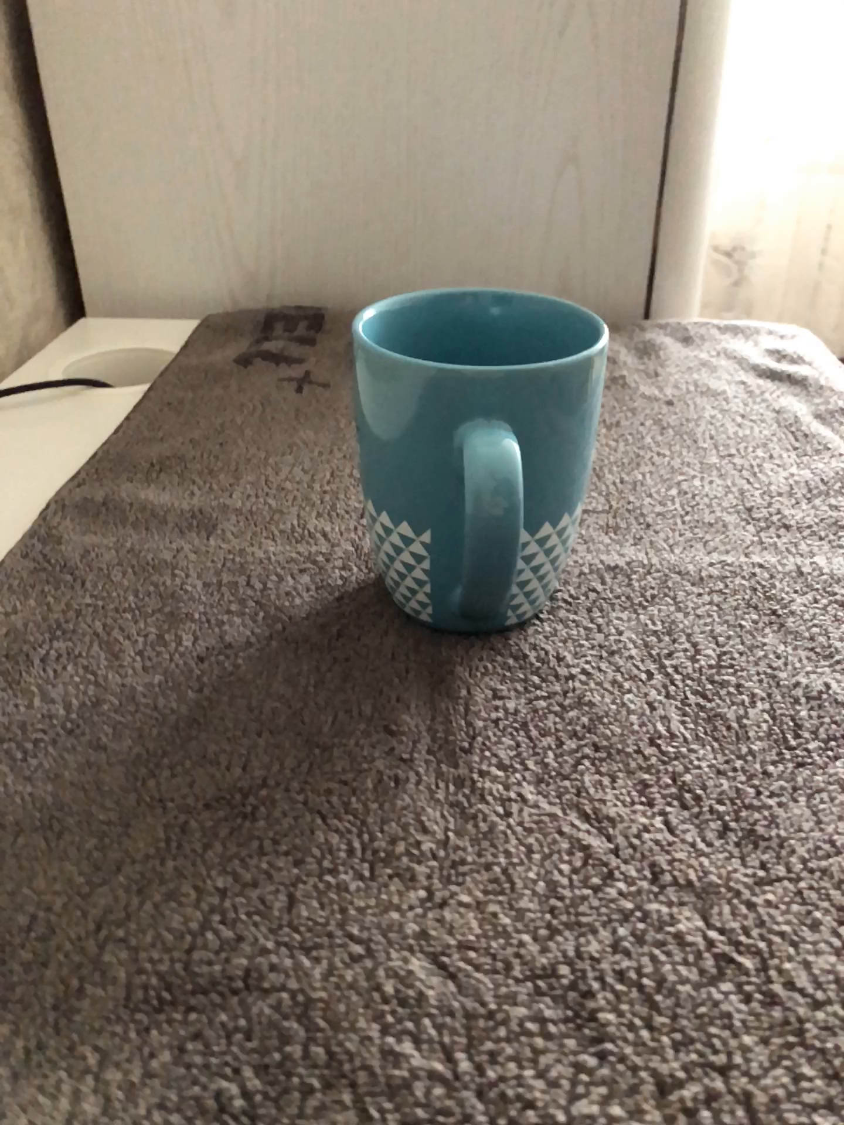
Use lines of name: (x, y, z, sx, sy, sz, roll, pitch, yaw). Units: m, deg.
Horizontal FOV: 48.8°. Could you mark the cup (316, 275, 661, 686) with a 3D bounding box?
cup: (0.015, -0.034, 0.310, 0.087, 0.089, 0.126, 0, 31, -1)
